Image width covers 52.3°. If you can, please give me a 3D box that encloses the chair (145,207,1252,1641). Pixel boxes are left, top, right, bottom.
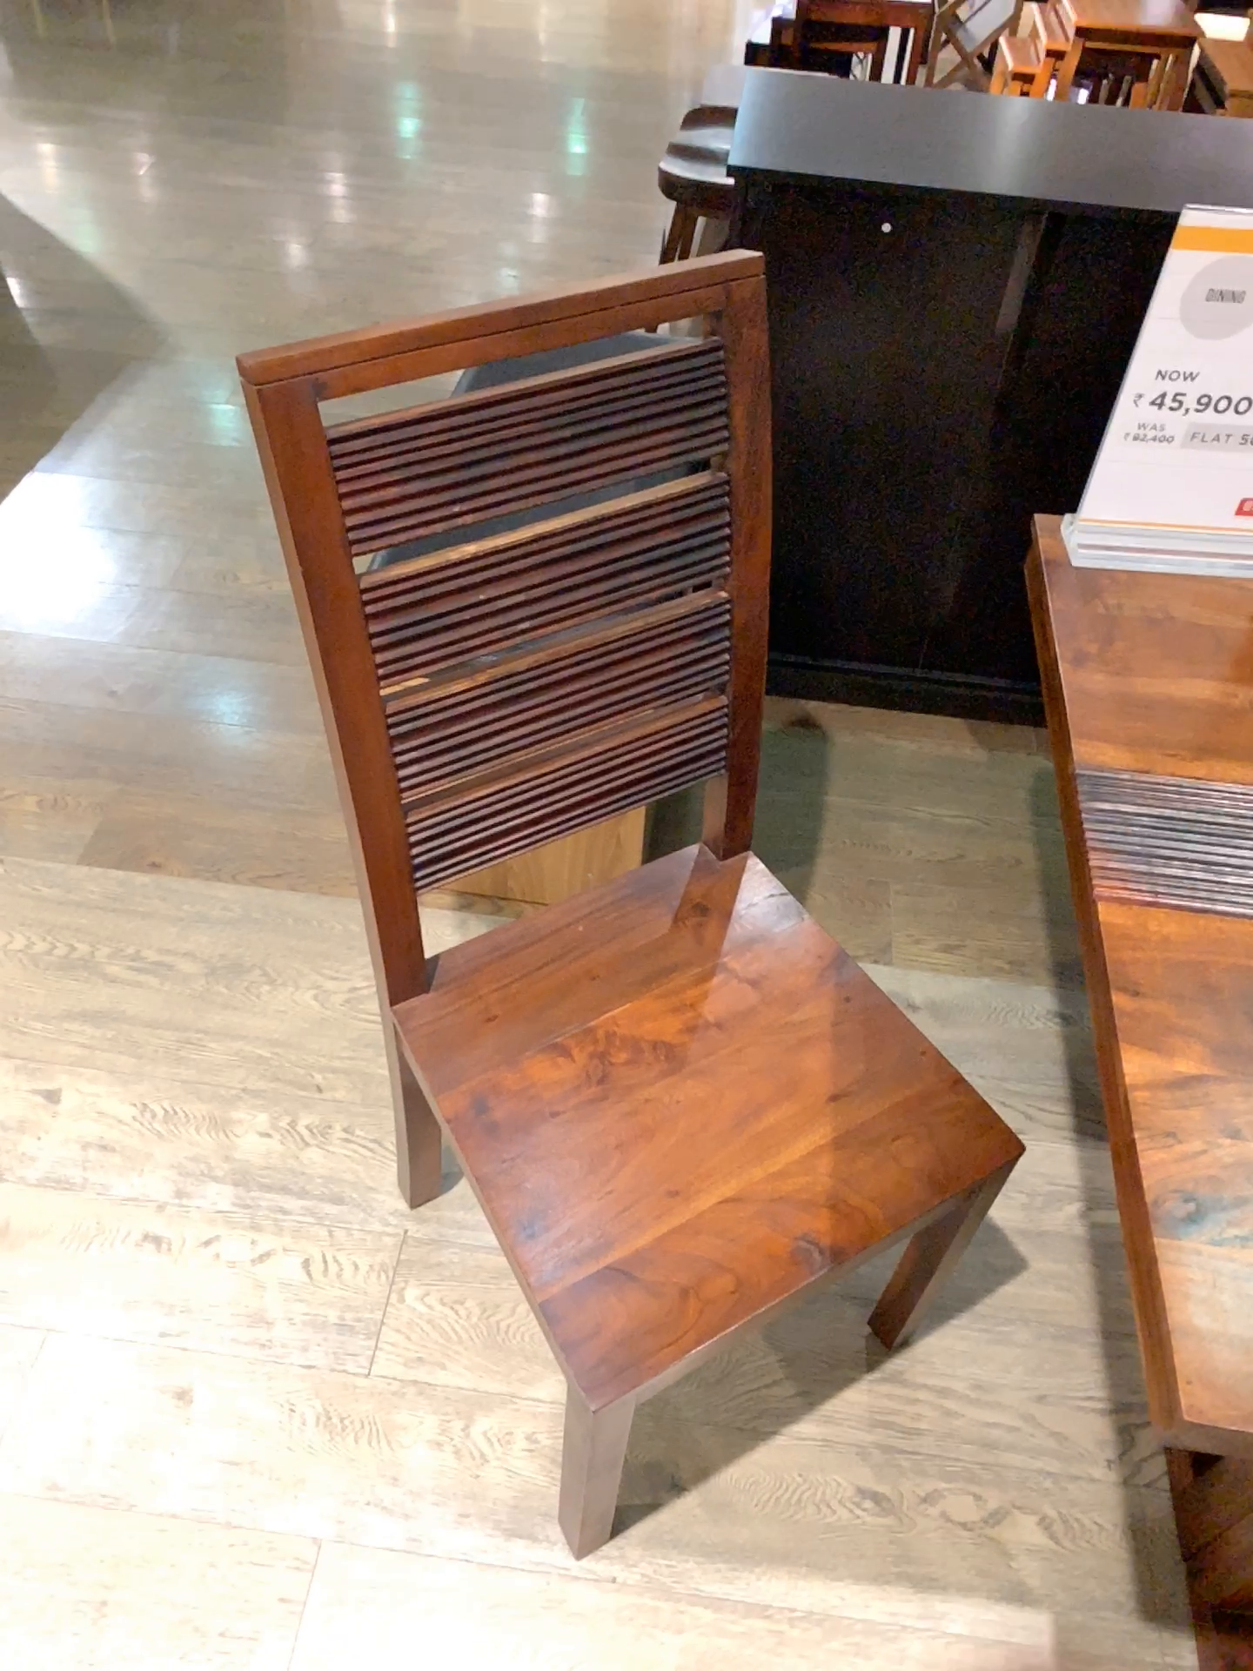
[{"bbox_3d":[0.054,0.134,1.060,0.521,0.997,0.531,-23,52,-23],"label":"chair"}]
